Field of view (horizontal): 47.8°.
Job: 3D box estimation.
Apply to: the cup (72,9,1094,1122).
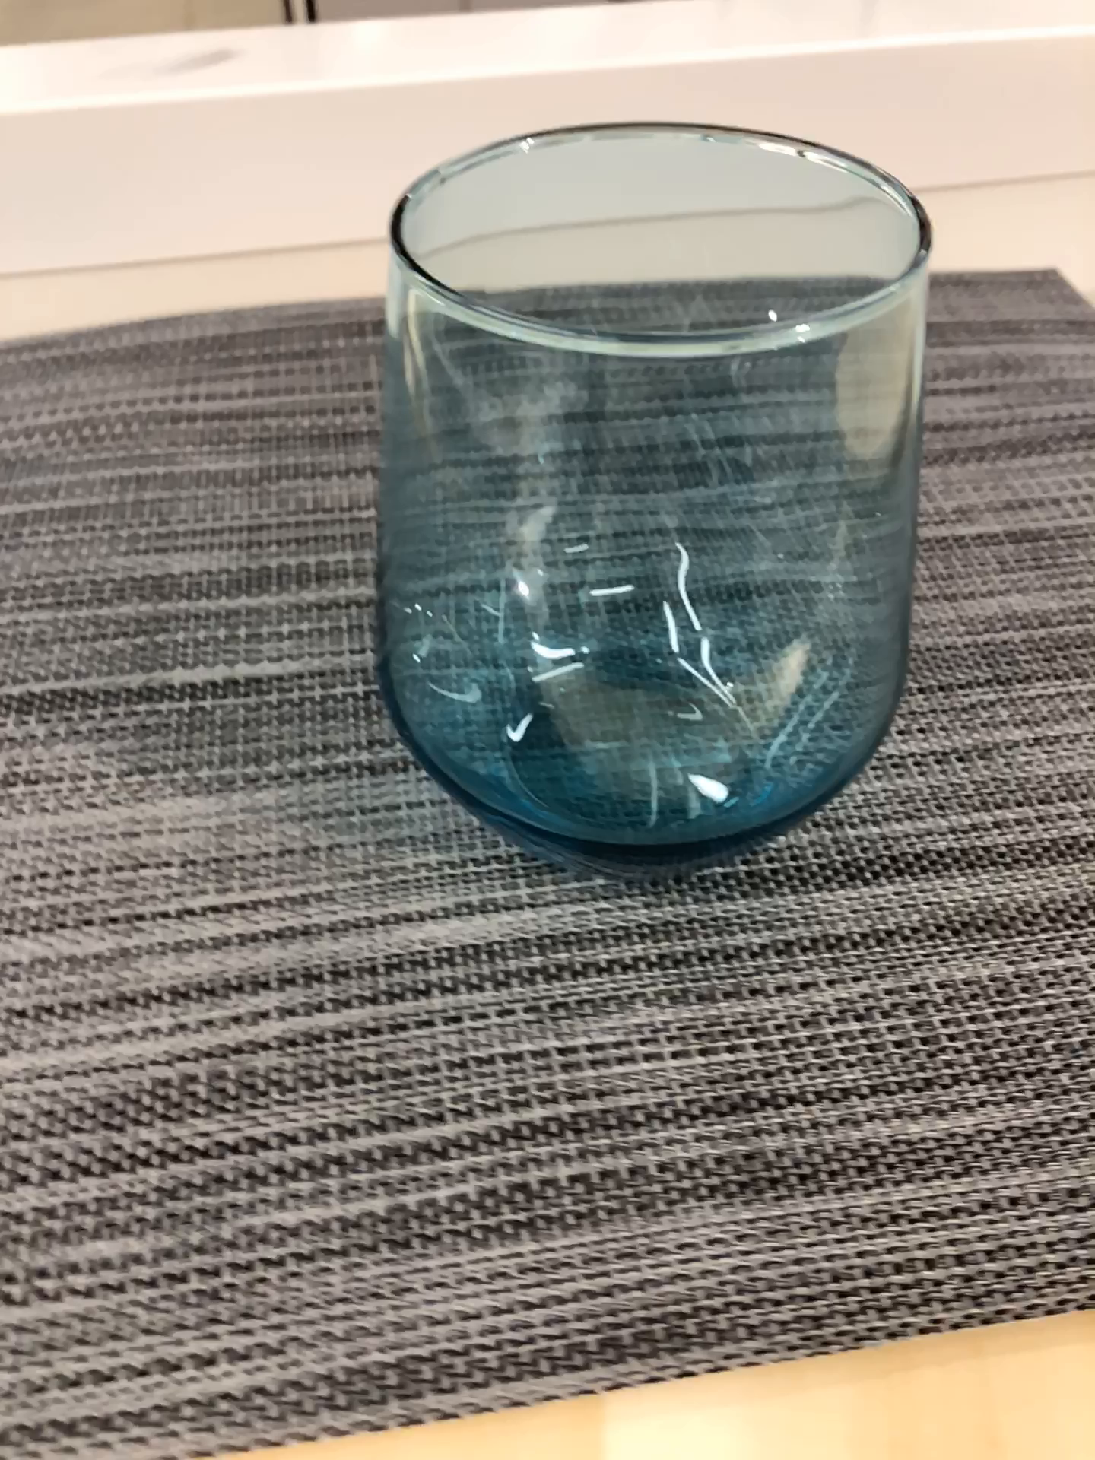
[{"bbox_3d":[0.014,-0.039,0.219,0.120,0.120,0.120,-1,43,1],"label":"cup"}]
